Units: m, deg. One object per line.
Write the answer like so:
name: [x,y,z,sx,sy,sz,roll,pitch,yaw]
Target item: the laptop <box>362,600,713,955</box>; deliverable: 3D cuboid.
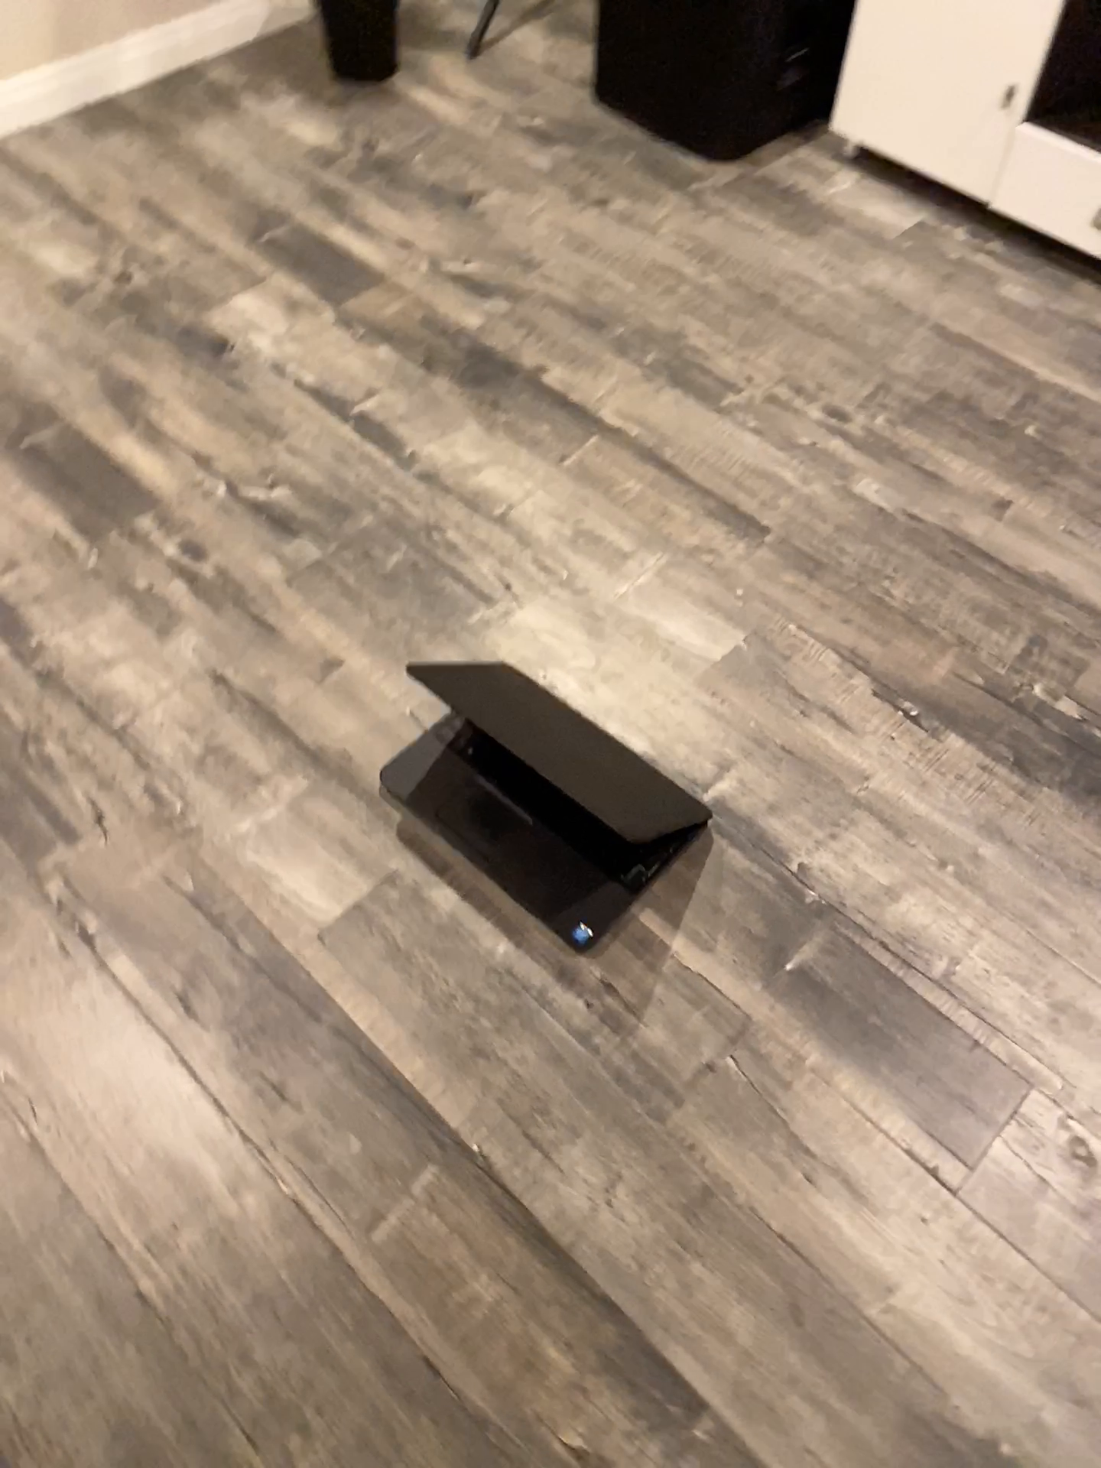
laptop: [-0.018,0.045,1.372,0.353,0.170,0.231,37,60,22]
